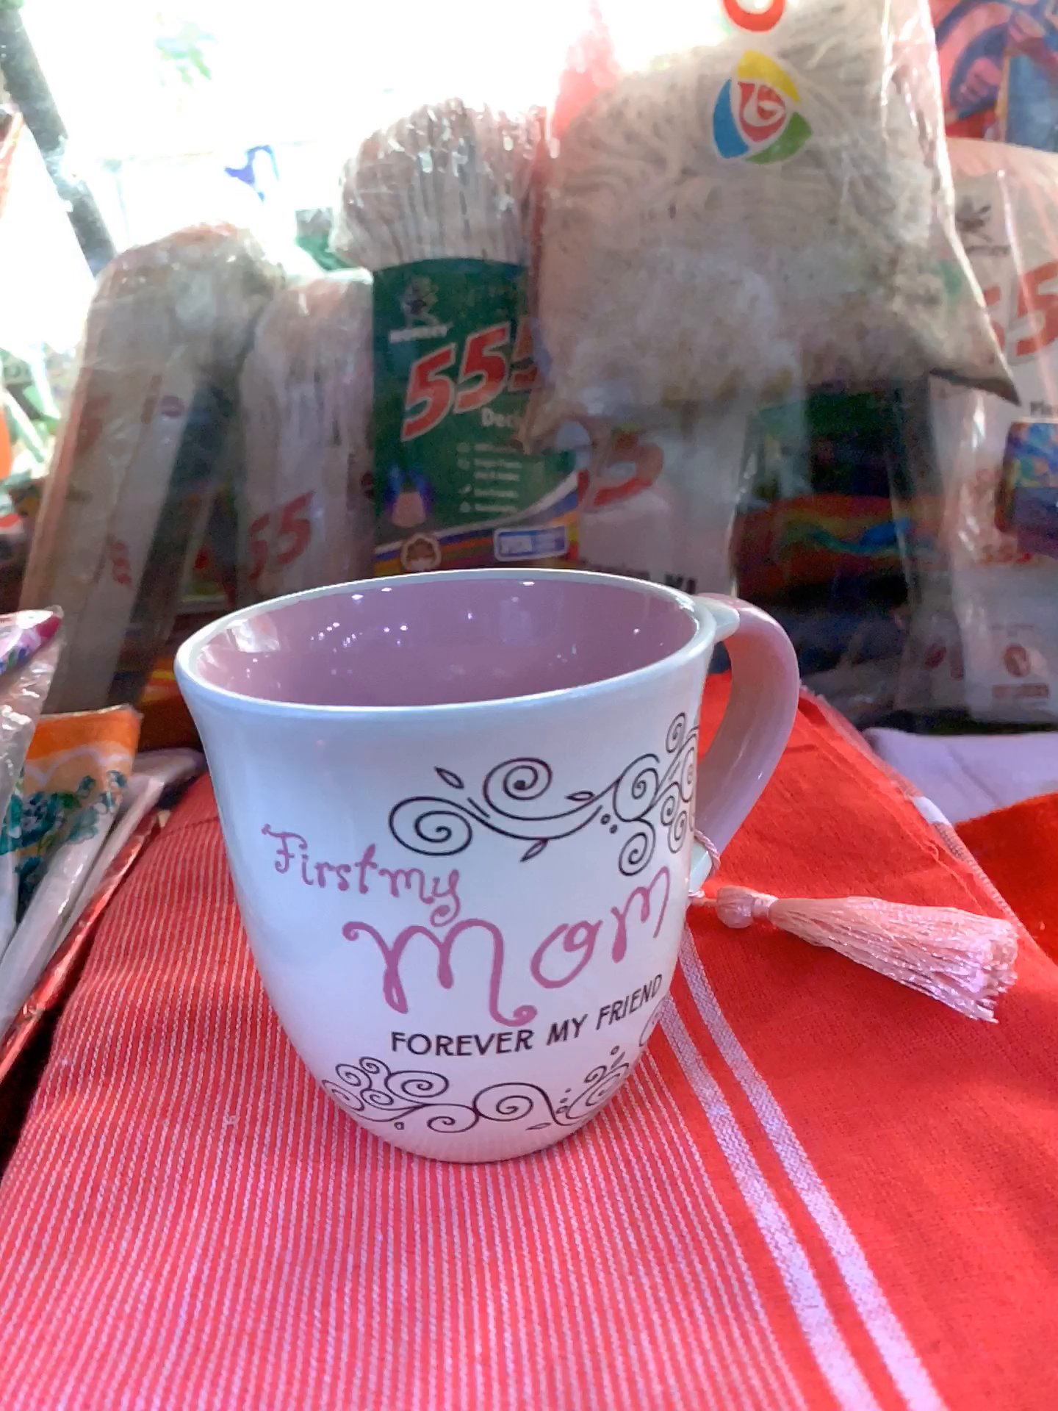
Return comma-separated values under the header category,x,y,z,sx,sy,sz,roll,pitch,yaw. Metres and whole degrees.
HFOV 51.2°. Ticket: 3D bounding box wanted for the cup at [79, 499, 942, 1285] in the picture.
category,x,y,z,sx,sy,sz,roll,pitch,yaw
cup,0.004,0.015,0.216,0.131,0.080,0.094,-23,26,-38
